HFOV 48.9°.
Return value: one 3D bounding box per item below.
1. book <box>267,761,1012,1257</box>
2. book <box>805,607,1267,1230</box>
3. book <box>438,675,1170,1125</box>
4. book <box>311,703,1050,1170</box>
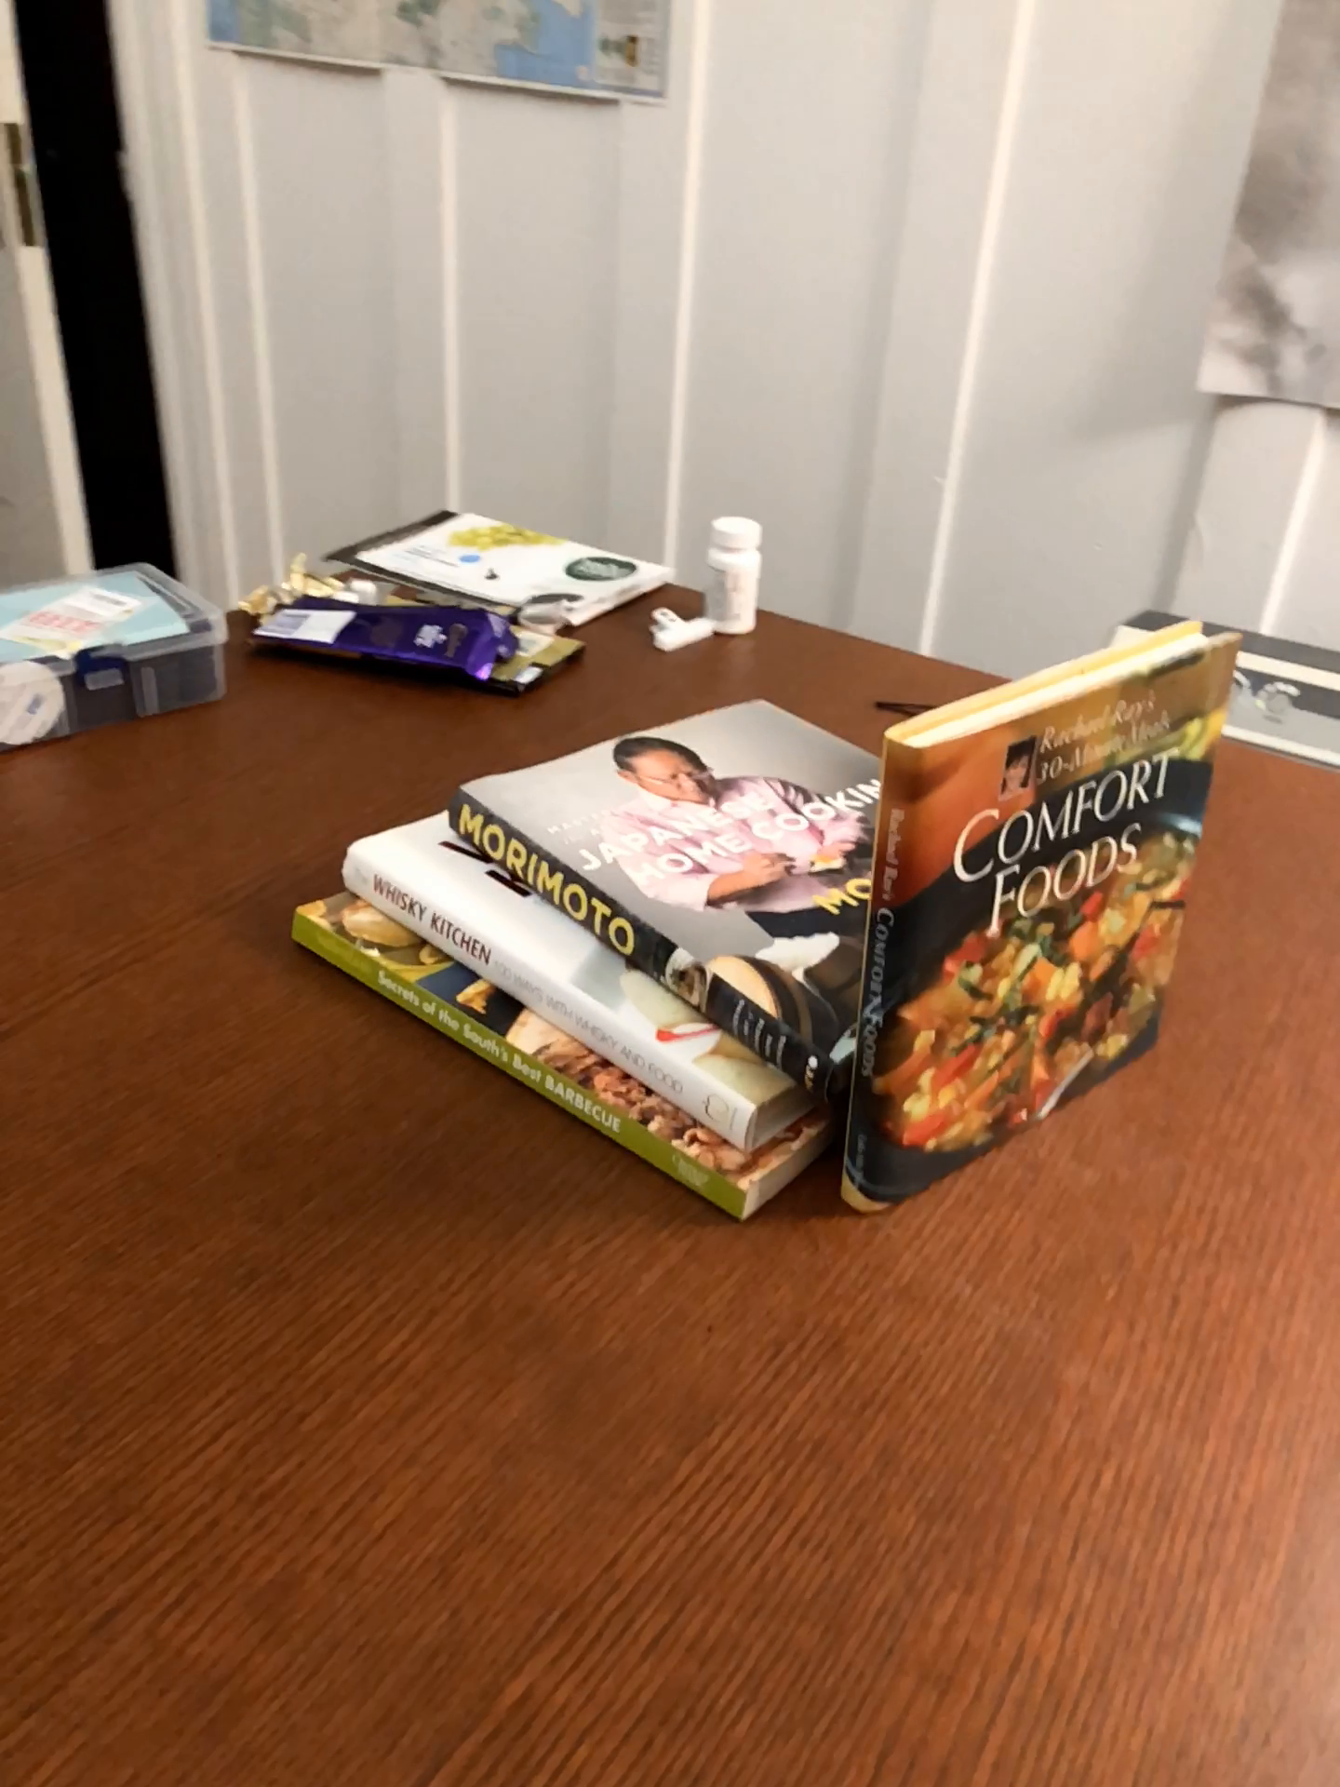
[{"bbox_3d":[-0.015,0.032,0.709,0.281,0.030,0.221,27,38,31],"label":"book"},{"bbox_3d":[0.150,0.006,0.603,0.211,0.209,0.030,-20,36,-36],"label":"book"},{"bbox_3d":[0.059,-0.019,0.719,0.221,0.030,0.281,-23,42,-37],"label":"book"},{"bbox_3d":[0.003,-0.001,0.713,0.281,0.030,0.221,29,39,33],"label":"book"}]
